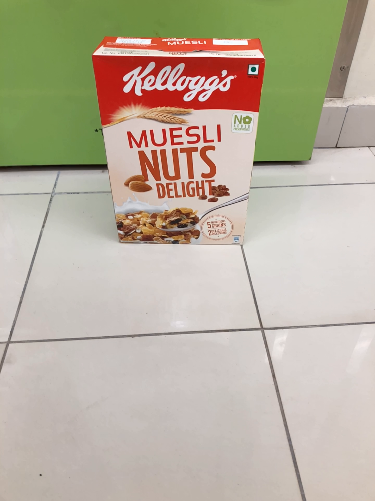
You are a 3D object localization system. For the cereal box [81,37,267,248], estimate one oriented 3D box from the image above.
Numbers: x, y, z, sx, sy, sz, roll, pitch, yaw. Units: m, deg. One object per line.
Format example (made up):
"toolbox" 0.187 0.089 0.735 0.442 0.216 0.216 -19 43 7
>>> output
"cereal box" -0.013 -0.133 0.563 0.200 0.268 0.081 0 40 1
